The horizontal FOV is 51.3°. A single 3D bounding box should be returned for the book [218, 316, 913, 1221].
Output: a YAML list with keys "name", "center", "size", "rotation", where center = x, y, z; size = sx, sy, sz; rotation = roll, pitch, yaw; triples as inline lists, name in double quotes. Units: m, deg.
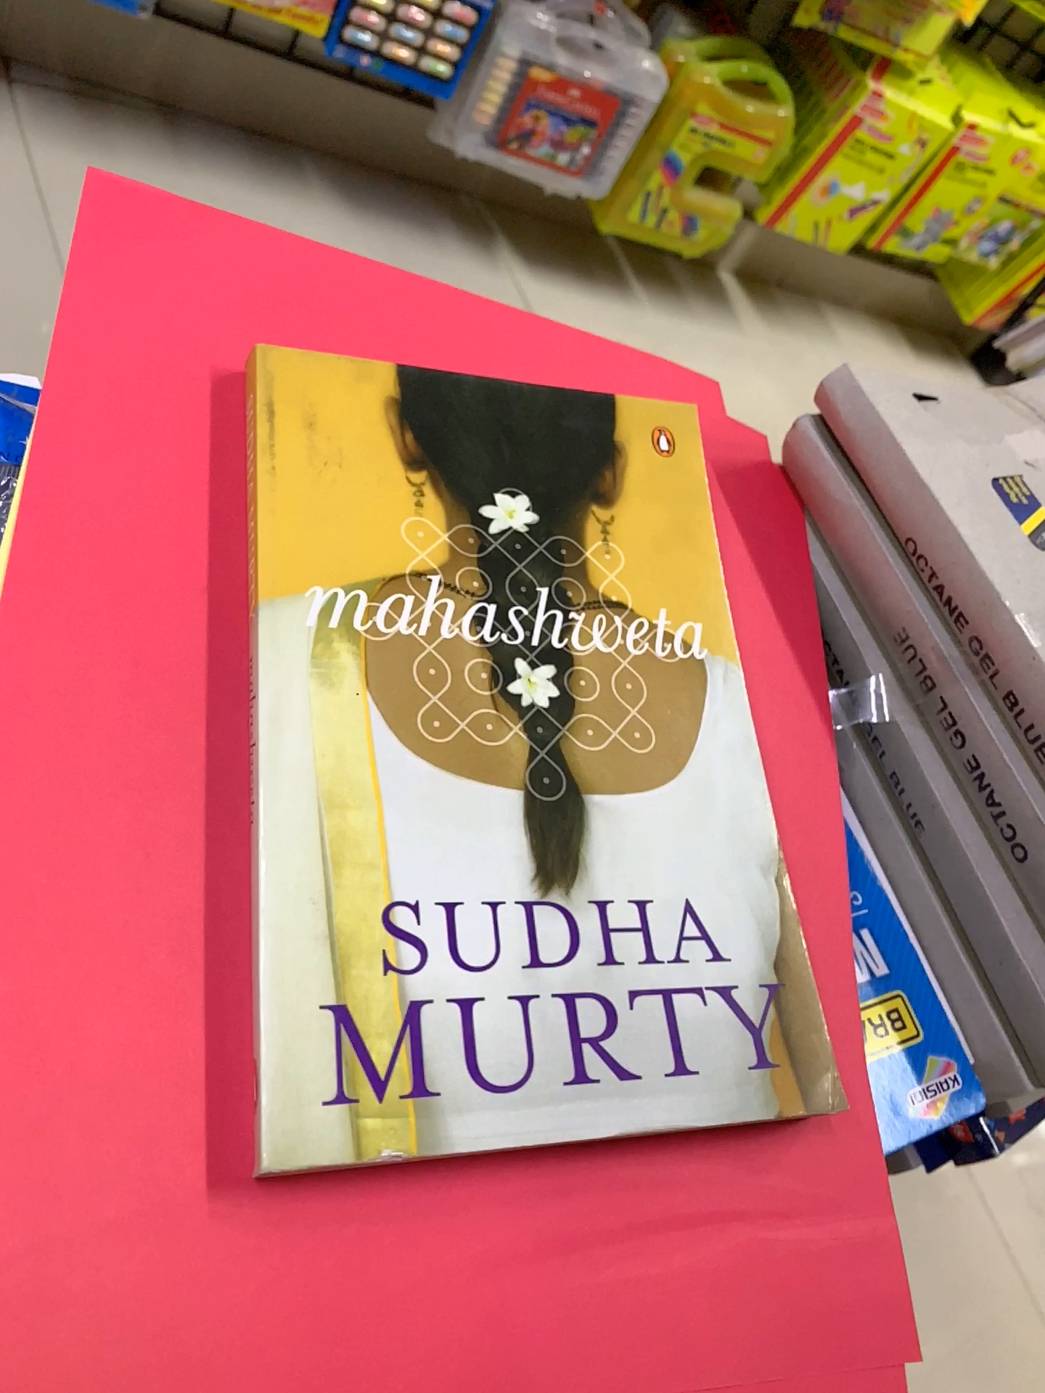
- name: "book"
  center: [0.003, 0.004, 0.257]
  size: [0.140, 0.020, 0.201]
  rotation: [3, 63, -20]
